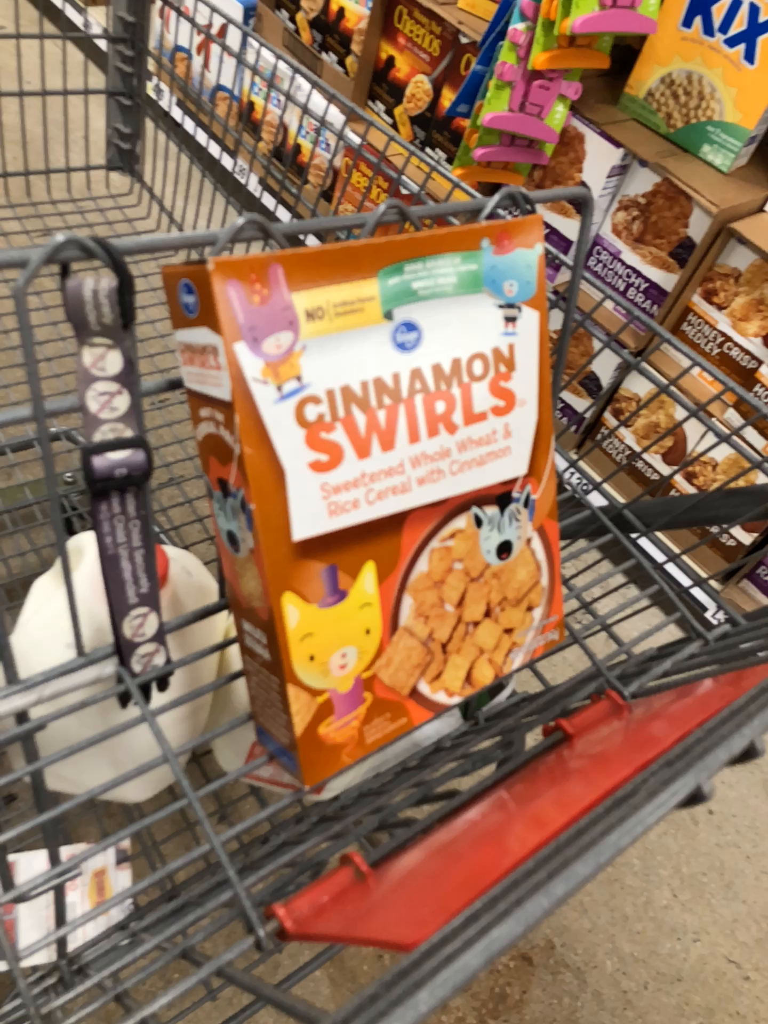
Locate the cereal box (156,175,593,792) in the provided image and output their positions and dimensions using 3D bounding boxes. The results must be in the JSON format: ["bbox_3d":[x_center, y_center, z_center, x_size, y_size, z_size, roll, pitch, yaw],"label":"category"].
[{"bbox_3d":[0.017,-0.024,0.428,0.210,0.260,0.050,-20,25,-33],"label":"cereal box"}]
